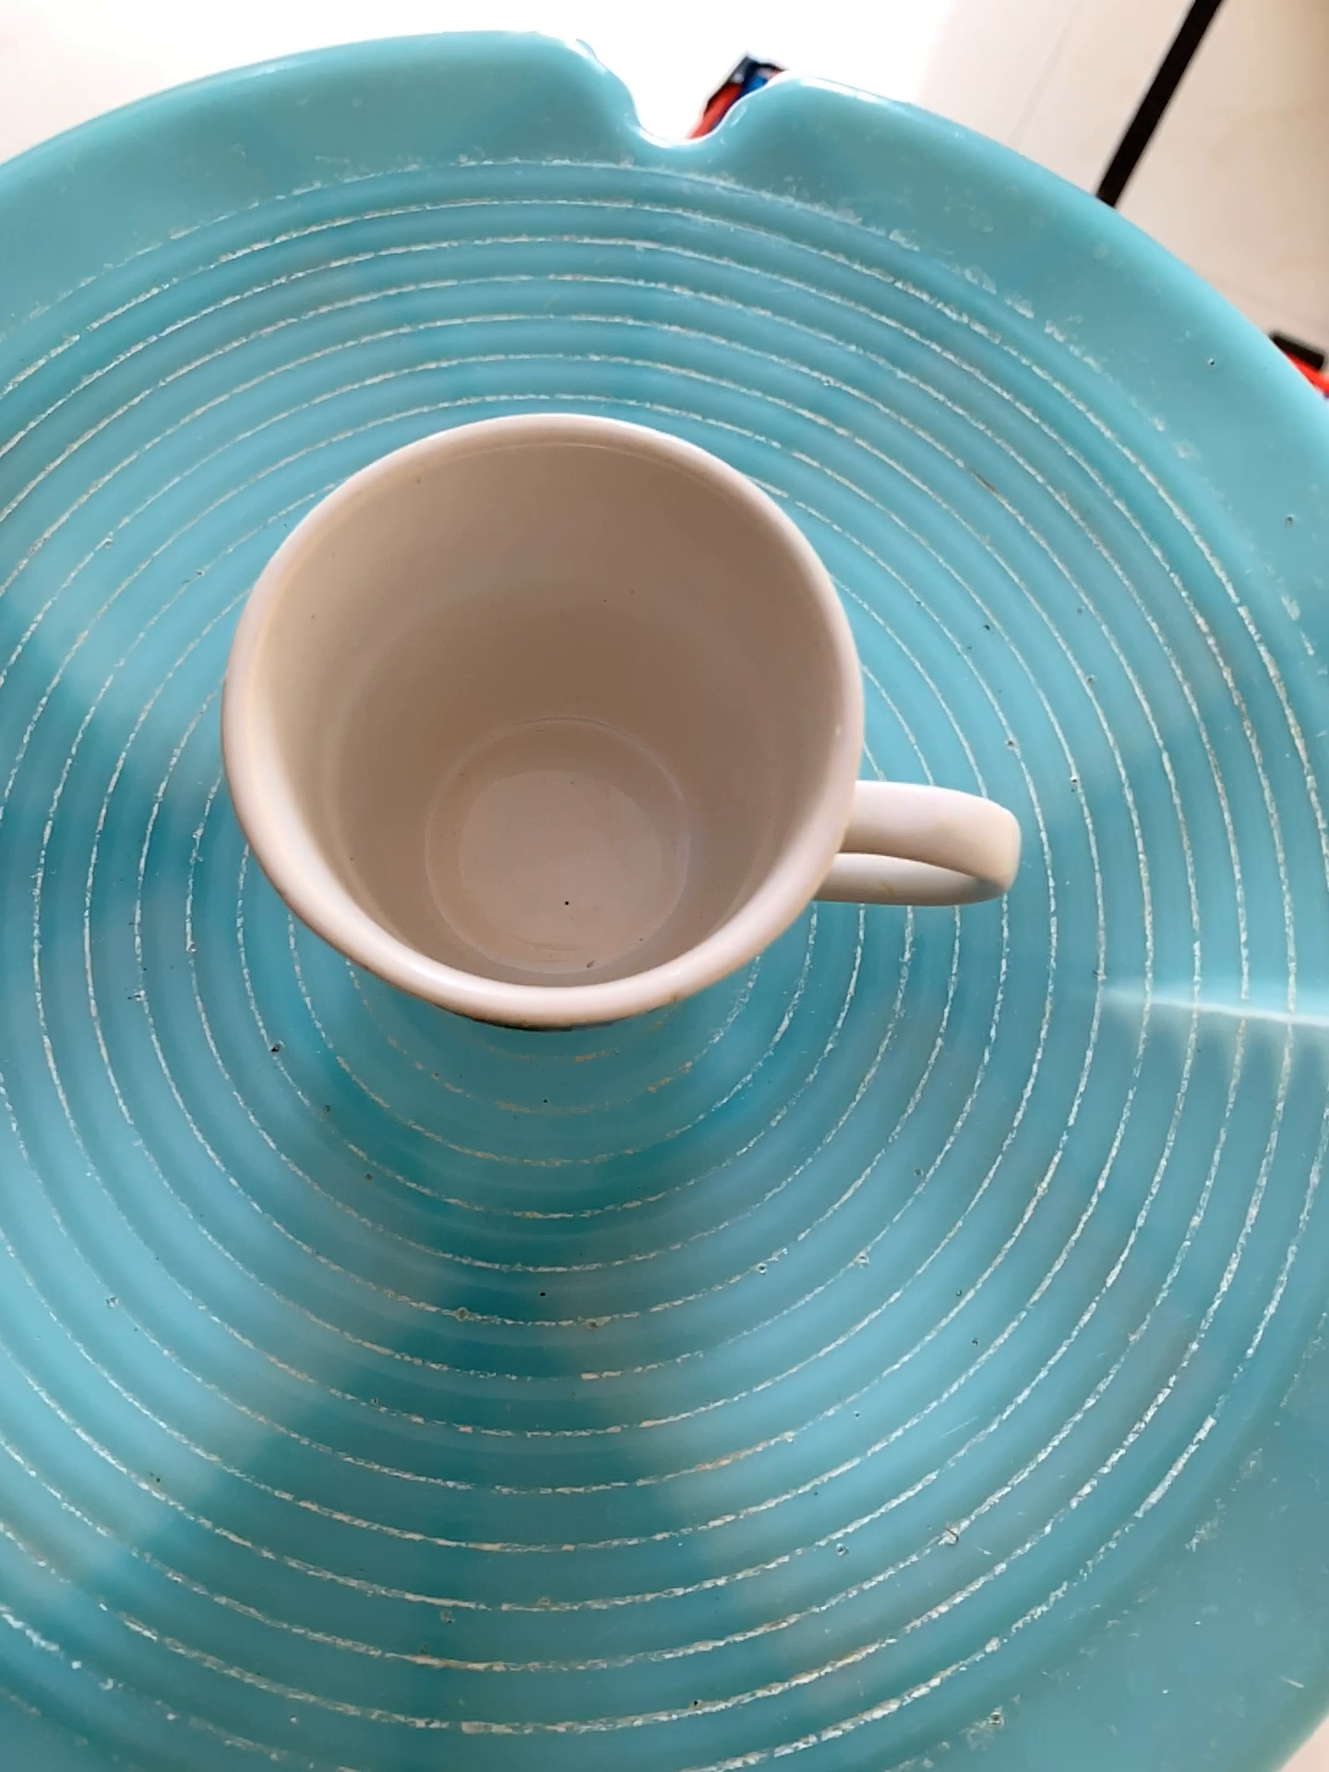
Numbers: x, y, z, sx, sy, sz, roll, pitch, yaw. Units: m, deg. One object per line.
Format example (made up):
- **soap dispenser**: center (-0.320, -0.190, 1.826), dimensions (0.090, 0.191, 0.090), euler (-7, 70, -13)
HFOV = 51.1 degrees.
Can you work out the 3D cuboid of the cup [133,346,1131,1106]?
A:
- **cup**: center (-0.004, -0.012, 0.163), dimensions (0.090, 0.060, 0.070), euler (1, 77, -3)
